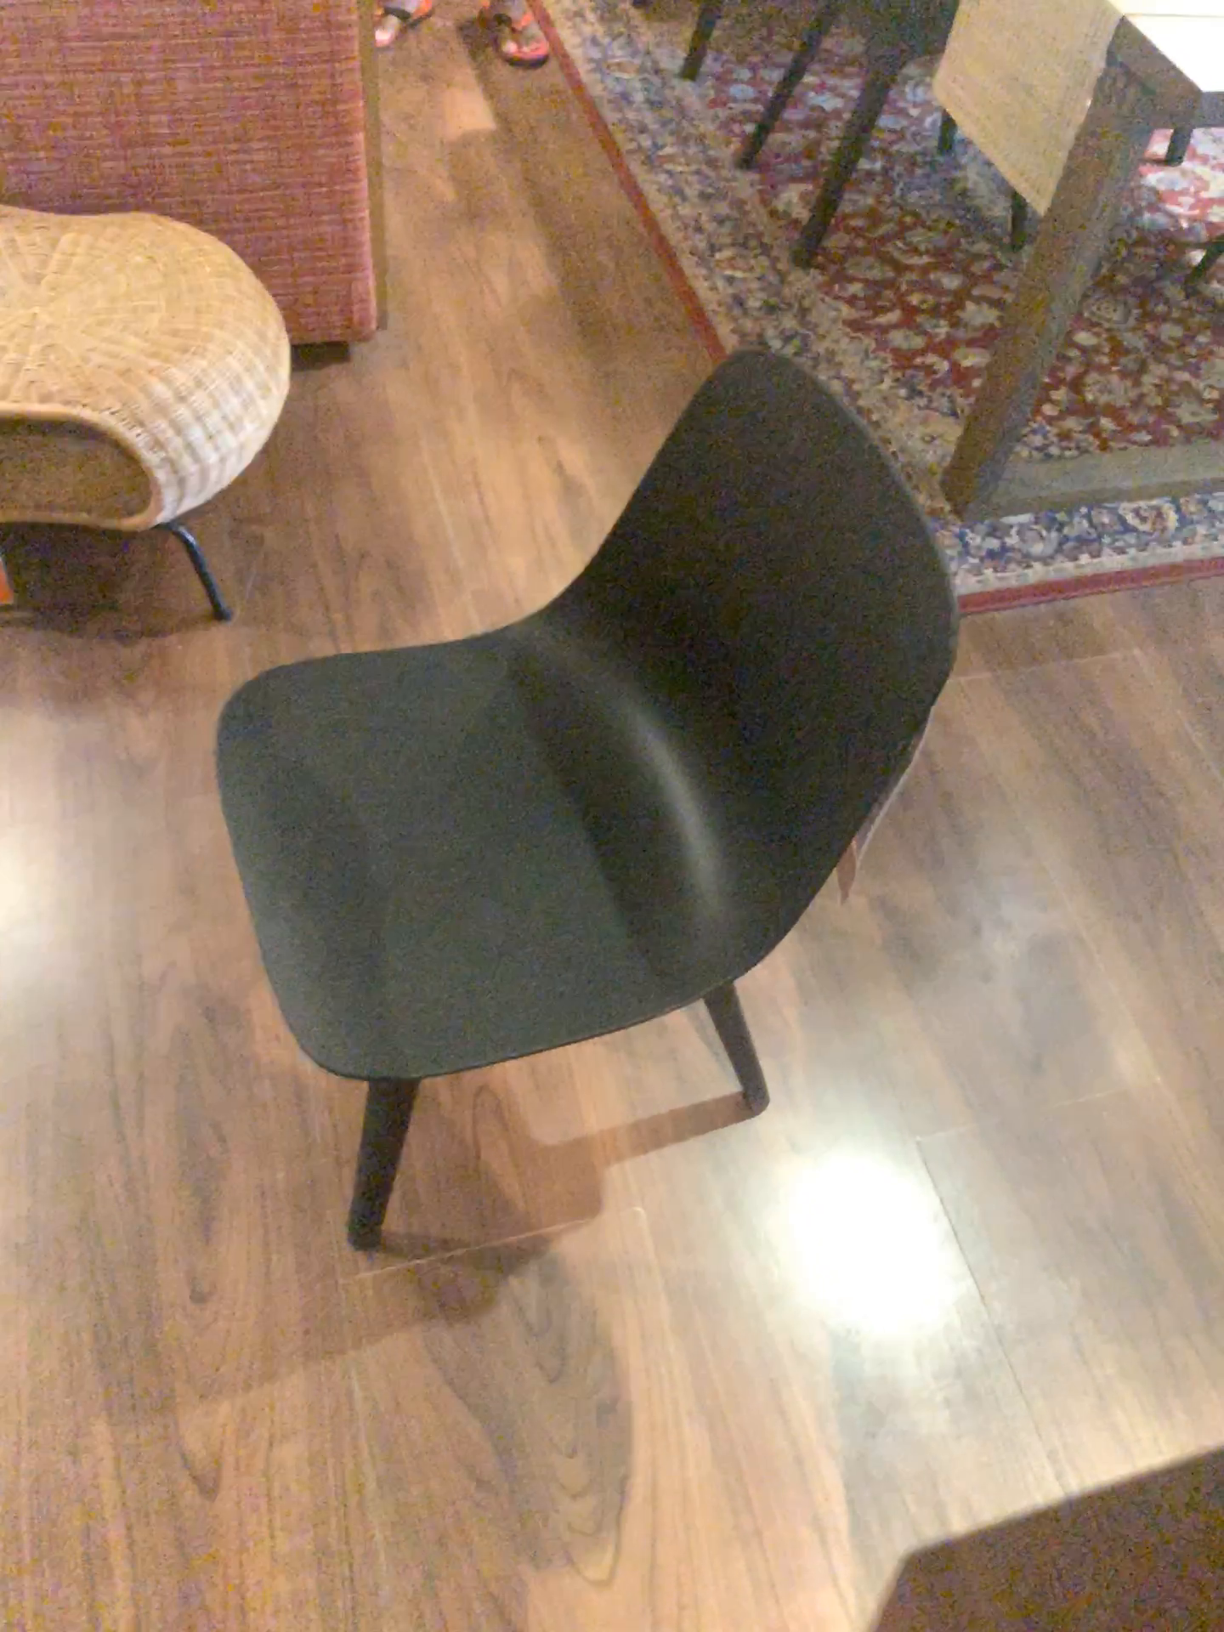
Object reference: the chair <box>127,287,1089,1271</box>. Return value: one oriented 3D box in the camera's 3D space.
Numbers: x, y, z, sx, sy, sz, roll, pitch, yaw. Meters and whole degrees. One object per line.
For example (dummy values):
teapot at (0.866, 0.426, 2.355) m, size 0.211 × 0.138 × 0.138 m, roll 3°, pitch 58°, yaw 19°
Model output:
chair at (-0.054, 0.006, 1.133) m, size 0.530 × 0.718 × 0.441 m, roll -14°, pitch 57°, yaw -17°
